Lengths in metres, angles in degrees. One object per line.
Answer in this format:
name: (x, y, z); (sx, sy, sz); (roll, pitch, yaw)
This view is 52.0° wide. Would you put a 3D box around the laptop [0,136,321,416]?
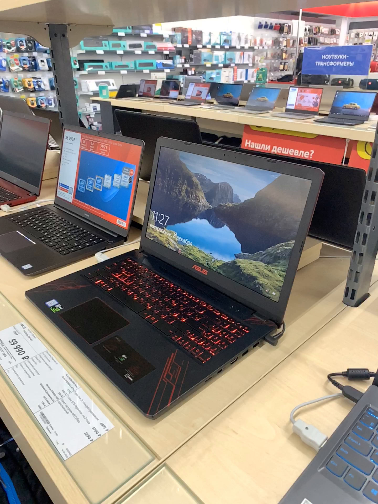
laptop: (-0.056, -0.023, 0.615); (0.317, 0.229, 0.367); (-22, 34, -38)
